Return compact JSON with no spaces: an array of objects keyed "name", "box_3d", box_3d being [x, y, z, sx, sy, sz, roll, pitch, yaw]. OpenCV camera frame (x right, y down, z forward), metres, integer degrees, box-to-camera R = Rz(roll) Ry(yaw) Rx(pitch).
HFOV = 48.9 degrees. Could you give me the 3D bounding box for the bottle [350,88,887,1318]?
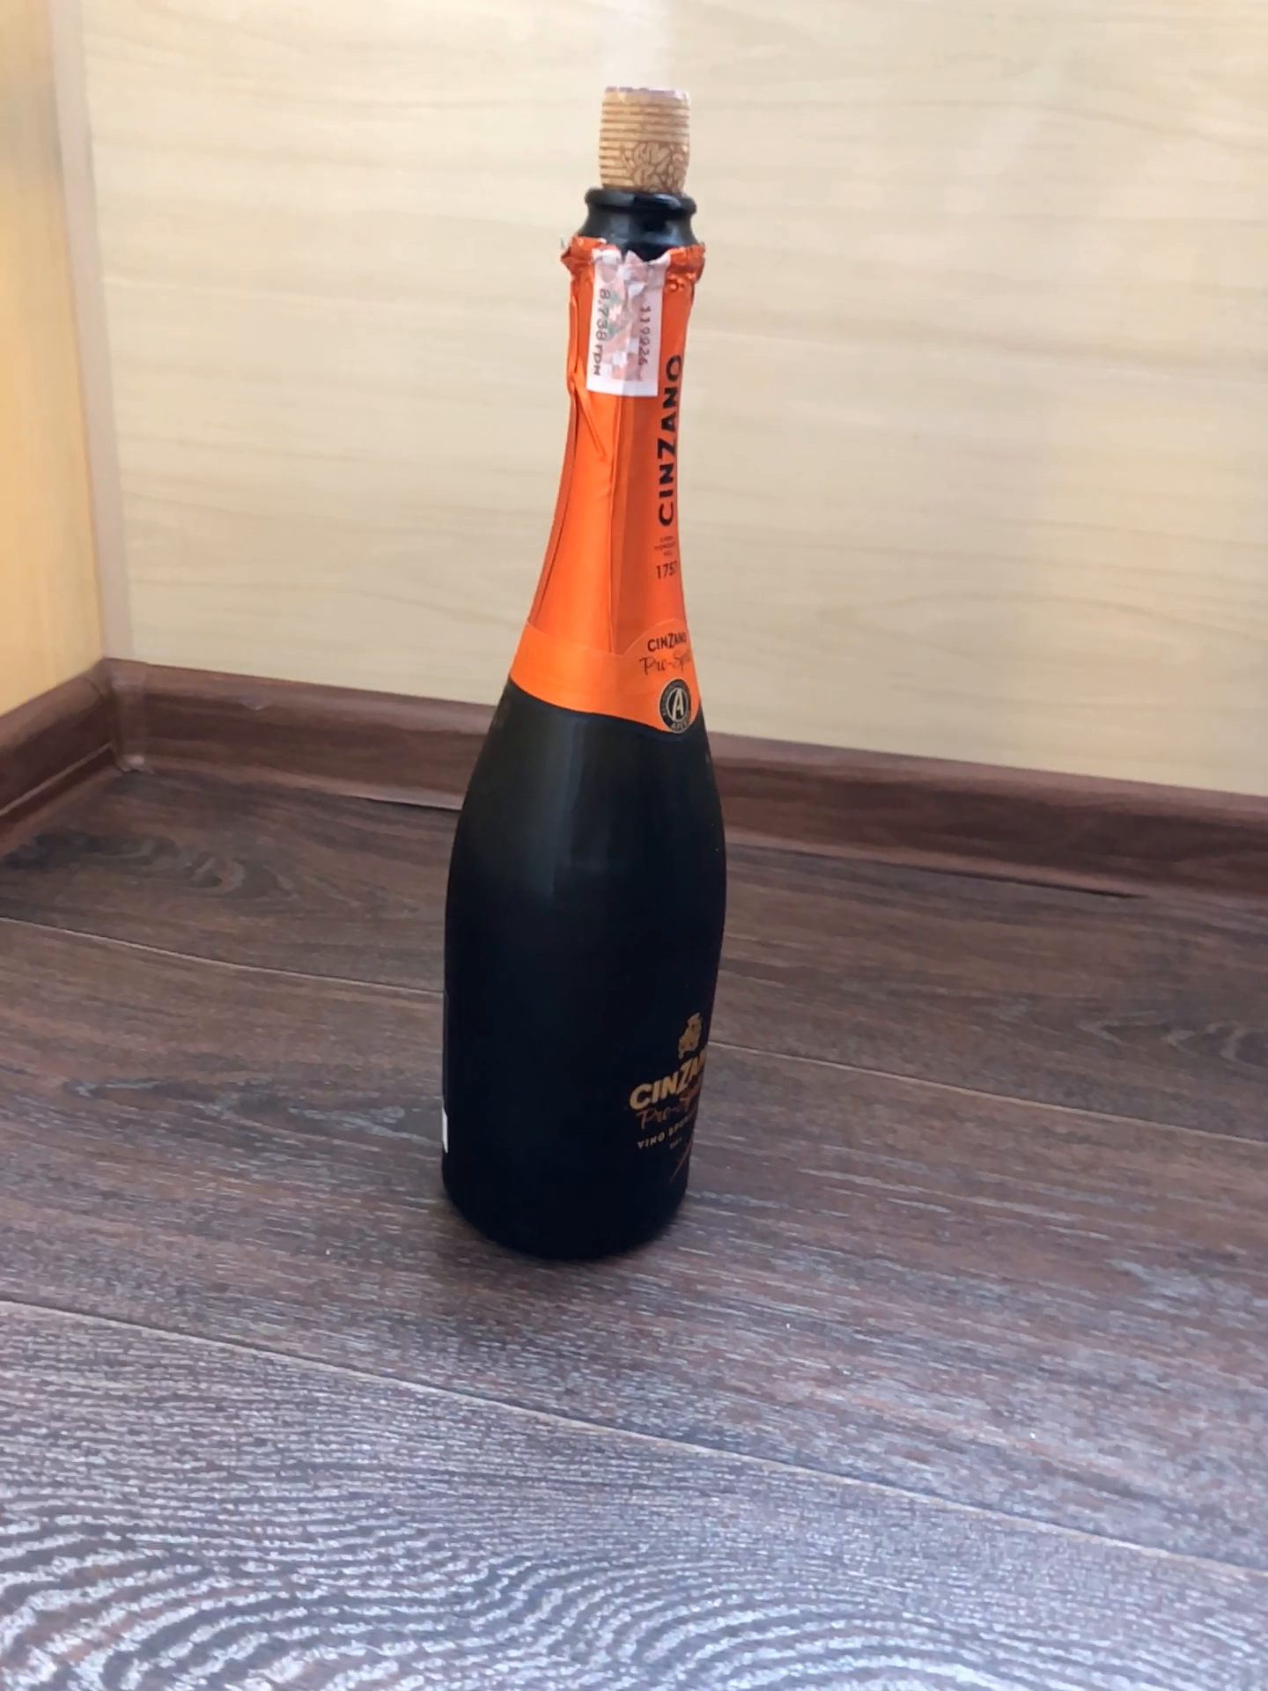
[{"name":"bottle","box_3d":[-0.012,-0.035,0.416,0.100,0.328,0.093,3,24,-1]}]
